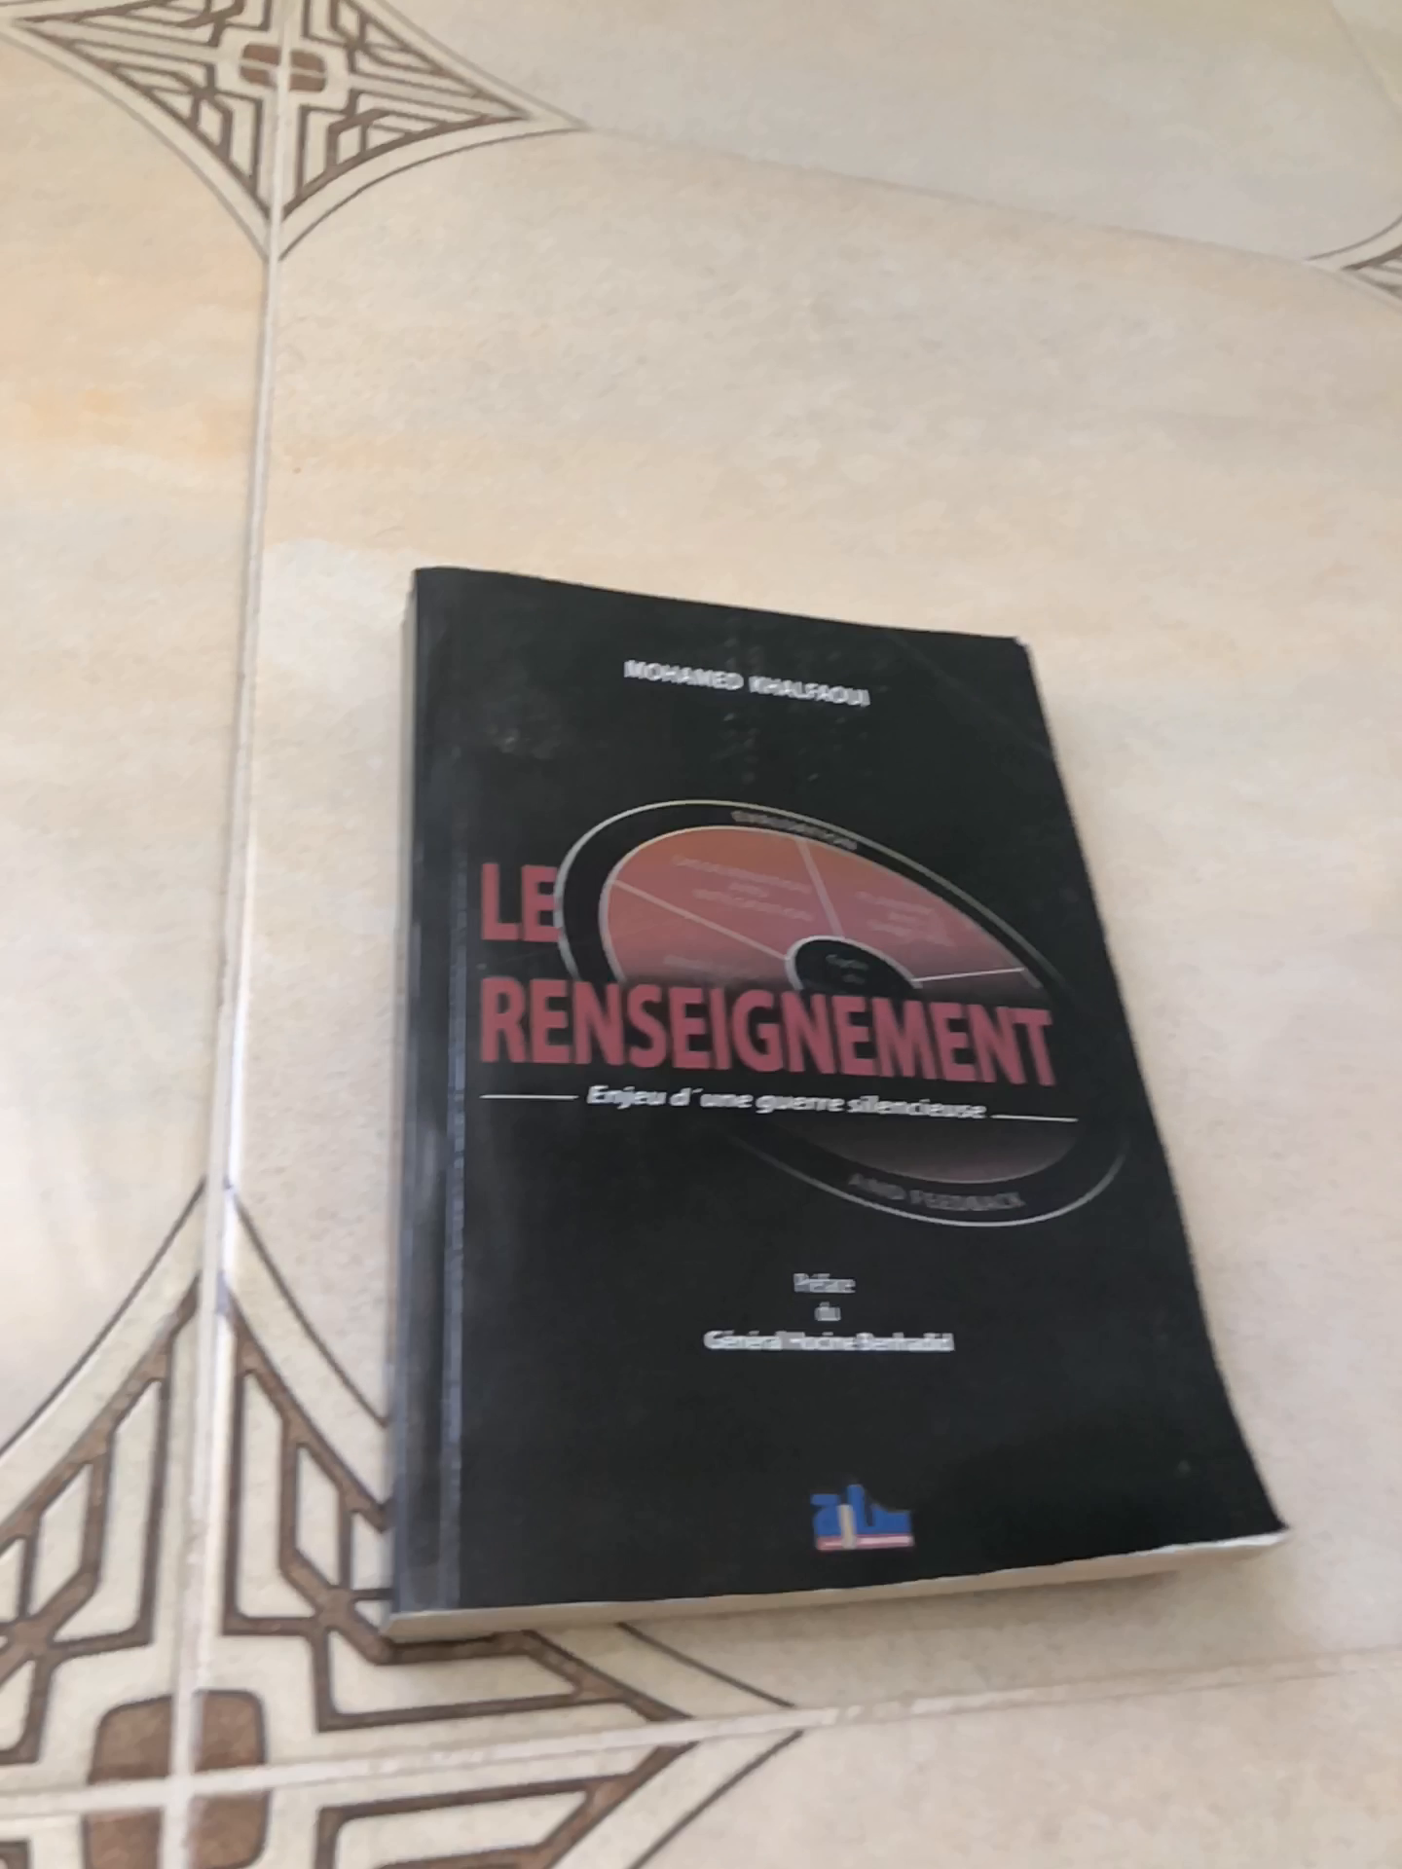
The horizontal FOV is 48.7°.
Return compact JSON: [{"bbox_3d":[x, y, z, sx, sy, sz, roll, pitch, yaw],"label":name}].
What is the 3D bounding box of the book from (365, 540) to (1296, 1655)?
[{"bbox_3d":[0.013,0.021,0.298,0.146,0.037,0.201,4,58,-17],"label":"book"}]
